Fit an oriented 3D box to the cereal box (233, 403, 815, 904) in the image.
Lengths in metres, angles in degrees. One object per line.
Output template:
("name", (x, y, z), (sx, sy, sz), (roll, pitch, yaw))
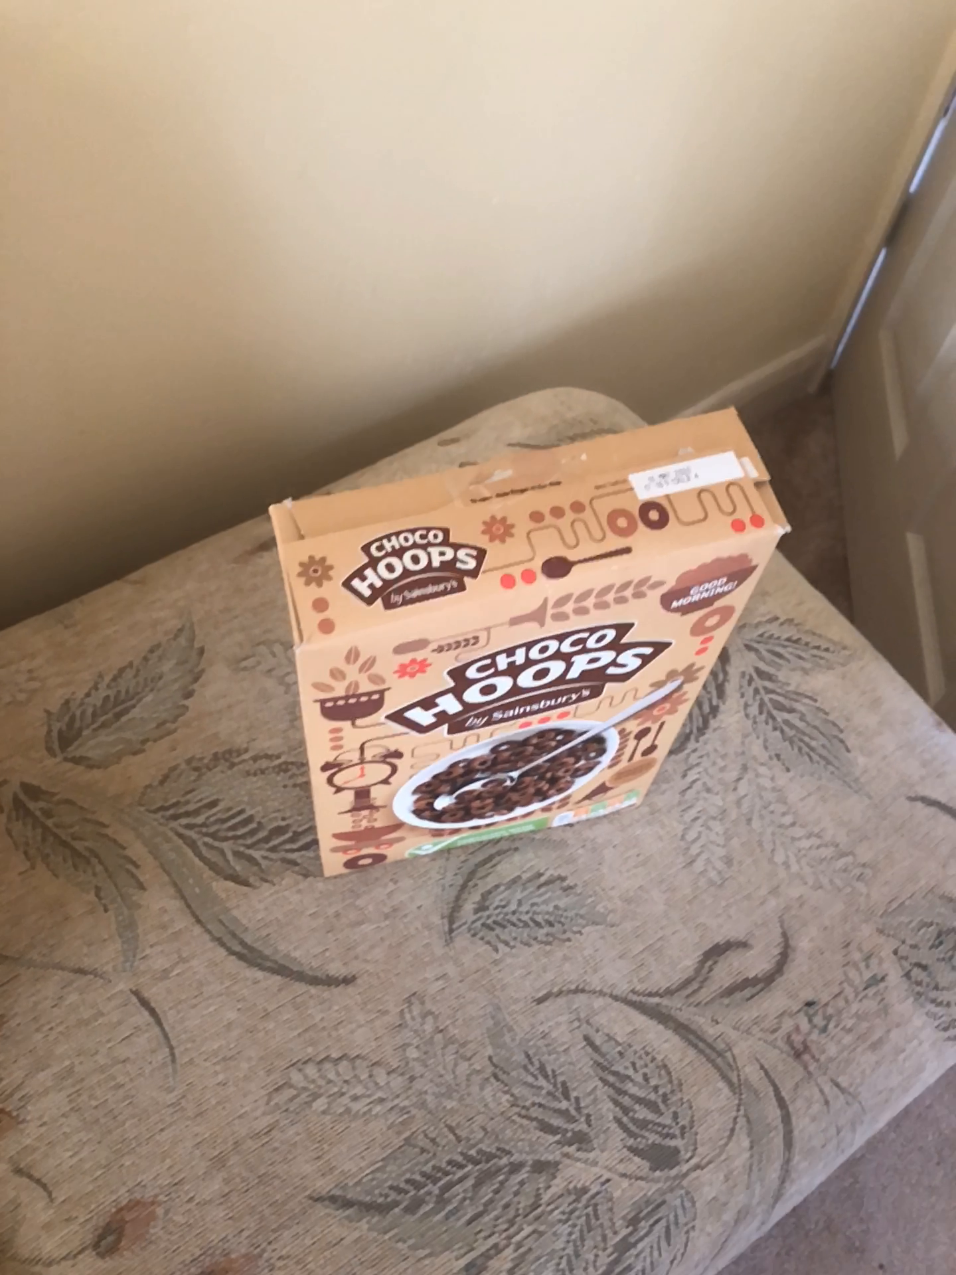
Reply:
("cereal box", (0.009, 0.024, 0.516), (0.210, 0.259, 0.080), (-12, 60, -12))
